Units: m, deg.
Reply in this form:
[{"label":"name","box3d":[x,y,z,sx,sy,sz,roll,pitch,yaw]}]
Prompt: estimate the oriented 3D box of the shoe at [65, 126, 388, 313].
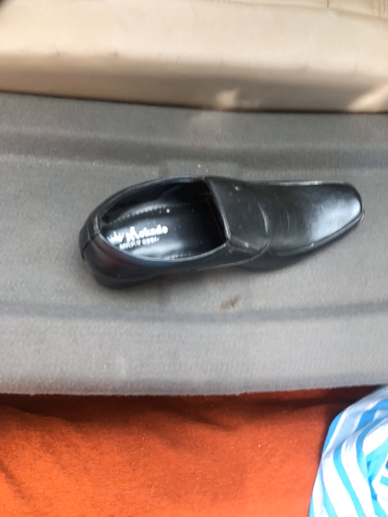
[{"label":"shoe","box3d":[0.043,-0.041,0.416,0.300,0.080,0.100,-12,68,-12]}]
